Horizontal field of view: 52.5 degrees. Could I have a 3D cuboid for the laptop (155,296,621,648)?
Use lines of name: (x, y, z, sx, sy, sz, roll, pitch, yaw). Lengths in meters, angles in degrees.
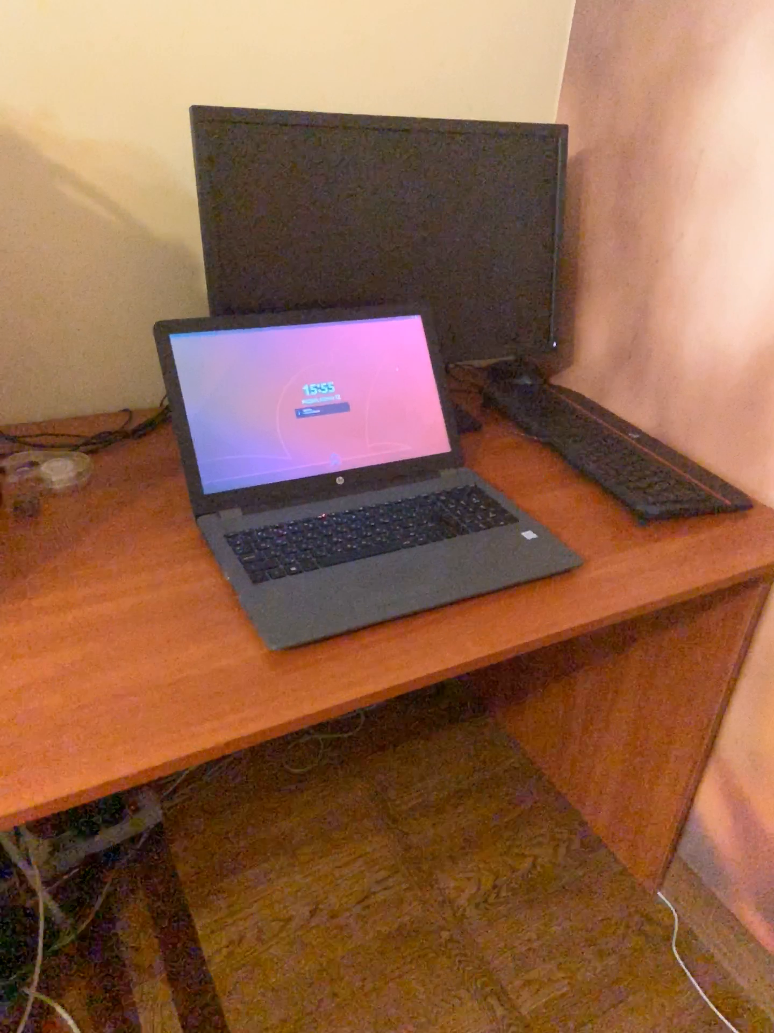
laptop: (-0.023, -0.089, 0.880, 0.366, 0.181, 0.376, -12, 35, -26)
